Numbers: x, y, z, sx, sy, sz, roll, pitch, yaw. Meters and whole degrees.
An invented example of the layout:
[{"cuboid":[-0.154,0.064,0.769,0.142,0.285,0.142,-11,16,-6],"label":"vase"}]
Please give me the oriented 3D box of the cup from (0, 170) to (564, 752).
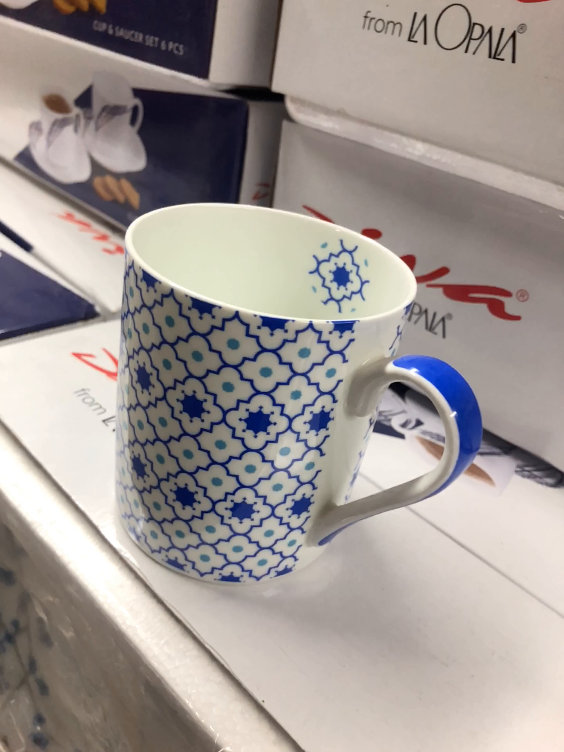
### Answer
[{"cuboid":[-0.007,0.008,0.154,0.100,0.079,0.070,31,38,30],"label":"cup"}]
